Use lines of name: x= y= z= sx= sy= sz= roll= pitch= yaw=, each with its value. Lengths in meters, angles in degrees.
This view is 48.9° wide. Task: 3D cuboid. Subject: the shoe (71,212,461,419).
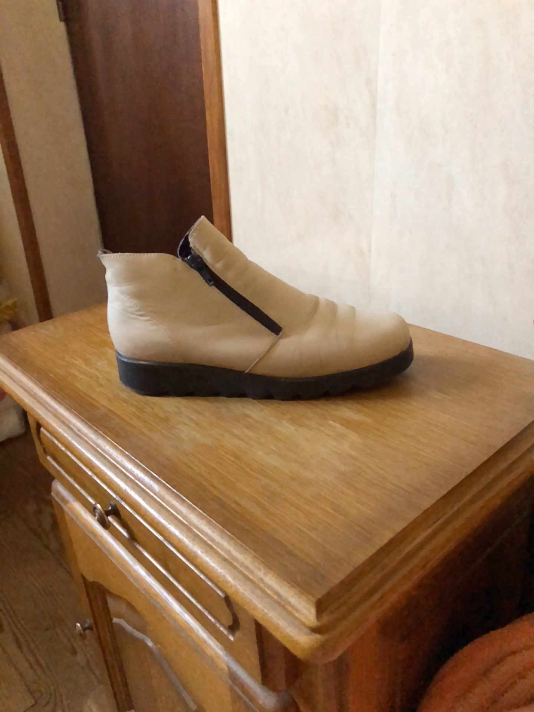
shoe: x=0.002 y=-0.035 z=0.478 sx=0.270 sy=0.129 sz=0.101 roll=-2 pitch=24 yaw=3
